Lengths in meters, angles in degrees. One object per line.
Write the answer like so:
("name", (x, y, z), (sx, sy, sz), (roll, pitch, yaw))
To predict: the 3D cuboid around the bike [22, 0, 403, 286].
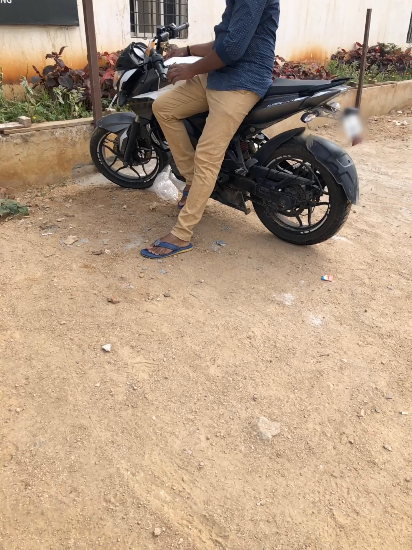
("bike", (-0.017, -0.890, 2.631), (1.848, 1.122, 0.784), (20, 32, 26))
